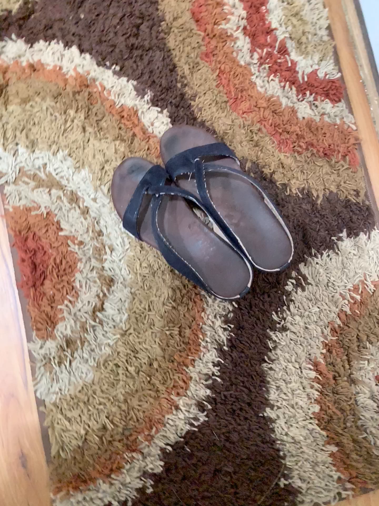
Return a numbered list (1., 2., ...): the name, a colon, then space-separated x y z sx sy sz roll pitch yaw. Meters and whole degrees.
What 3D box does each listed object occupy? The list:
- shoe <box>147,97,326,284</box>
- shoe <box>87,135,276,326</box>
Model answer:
1. shoe: 0.054 -0.074 0.481 0.084 0.052 0.223 -42 88 -7
2. shoe: -0.011 -0.025 0.478 0.090 0.062 0.222 -44 88 -7
